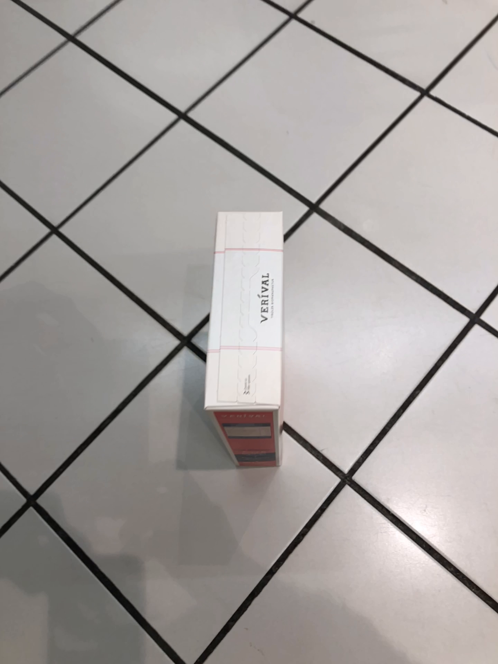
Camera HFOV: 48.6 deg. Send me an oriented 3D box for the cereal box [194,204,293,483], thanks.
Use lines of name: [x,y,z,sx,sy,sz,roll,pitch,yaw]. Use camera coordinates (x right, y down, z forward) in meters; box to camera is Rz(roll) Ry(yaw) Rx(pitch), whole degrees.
cereal box: [0.006,0.028,0.412,0.050,0.219,0.140,1,69,4]
